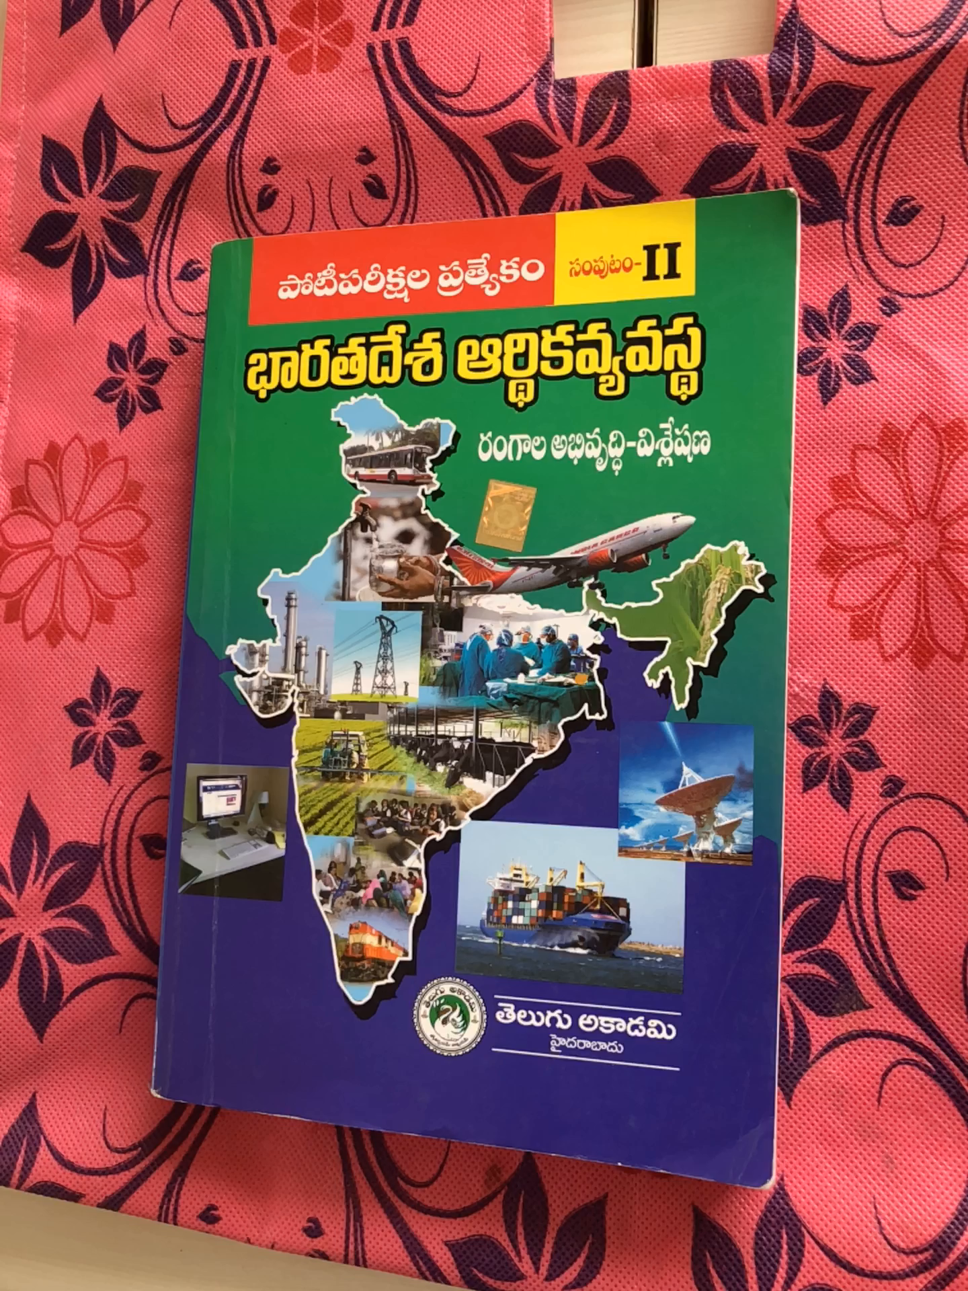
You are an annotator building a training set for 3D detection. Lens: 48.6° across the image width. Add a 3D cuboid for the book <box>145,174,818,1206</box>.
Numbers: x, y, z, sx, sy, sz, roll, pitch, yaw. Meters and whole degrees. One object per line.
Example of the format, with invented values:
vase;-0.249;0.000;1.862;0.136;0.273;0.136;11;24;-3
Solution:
book;0.000;0.006;0.333;0.190;0.040;0.280;1;85;14
